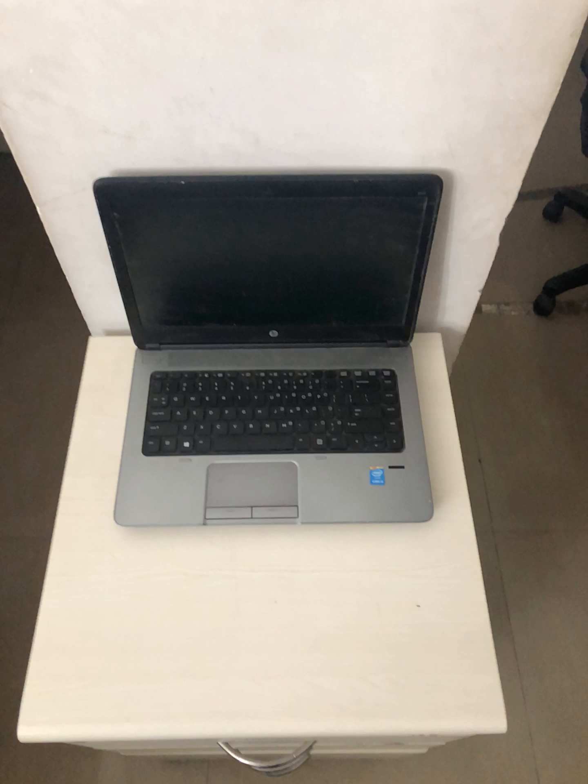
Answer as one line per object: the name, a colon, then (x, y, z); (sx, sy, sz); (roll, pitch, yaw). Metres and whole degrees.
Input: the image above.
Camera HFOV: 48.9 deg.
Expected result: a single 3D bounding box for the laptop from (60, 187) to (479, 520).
laptop: (-0.015, -0.031, 0.622); (0.304, 0.209, 0.238); (0, 59, -1)
